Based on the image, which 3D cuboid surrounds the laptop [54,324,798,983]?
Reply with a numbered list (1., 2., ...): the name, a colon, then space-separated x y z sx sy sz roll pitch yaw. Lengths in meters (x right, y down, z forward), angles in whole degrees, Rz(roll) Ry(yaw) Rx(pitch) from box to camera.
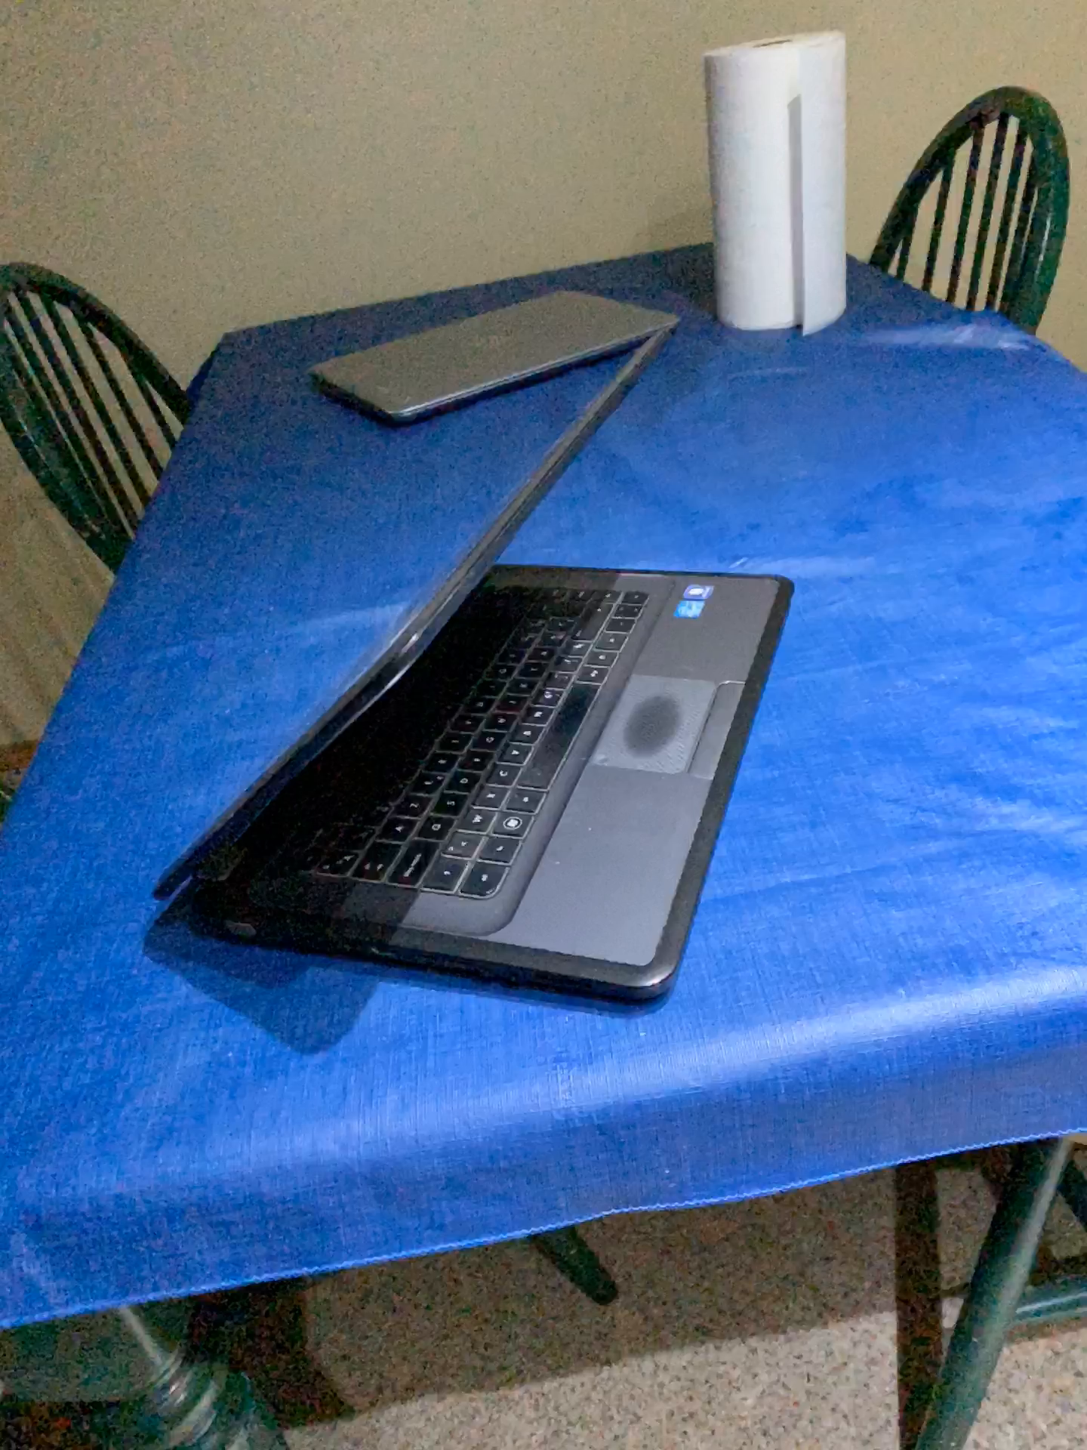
1. laptop: -0.016 -0.071 0.588 0.243 0.160 0.364 3 35 20
